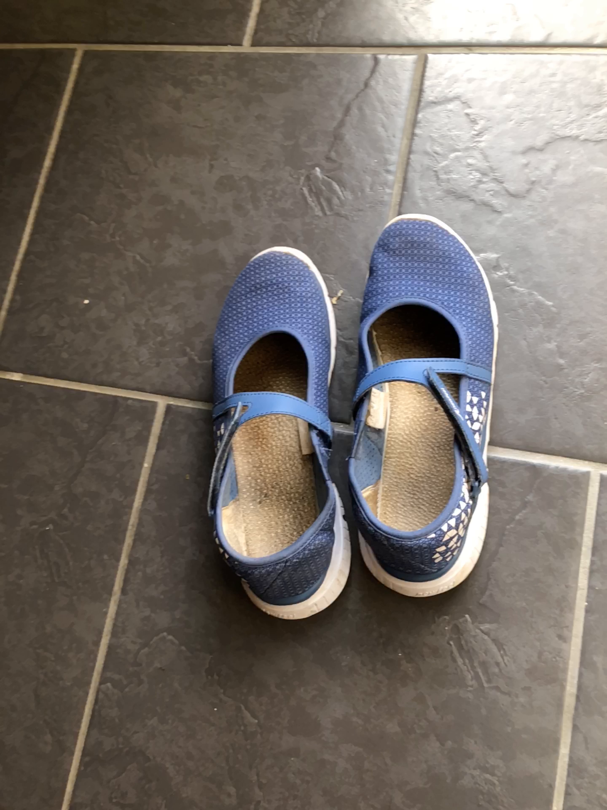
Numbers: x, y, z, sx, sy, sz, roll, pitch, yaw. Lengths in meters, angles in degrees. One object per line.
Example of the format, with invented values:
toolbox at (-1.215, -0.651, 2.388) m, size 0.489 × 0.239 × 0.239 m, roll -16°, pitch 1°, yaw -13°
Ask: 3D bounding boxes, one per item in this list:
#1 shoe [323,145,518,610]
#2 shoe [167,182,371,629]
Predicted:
shoe at (0.083, -0.013, 0.473) m, size 0.110 × 0.120 × 0.290 m, roll -2°, pitch 76°, yaw 14°
shoe at (-0.023, 0.006, 0.495) m, size 0.110 × 0.120 × 0.290 m, roll -6°, pitch 75°, yaw 13°
